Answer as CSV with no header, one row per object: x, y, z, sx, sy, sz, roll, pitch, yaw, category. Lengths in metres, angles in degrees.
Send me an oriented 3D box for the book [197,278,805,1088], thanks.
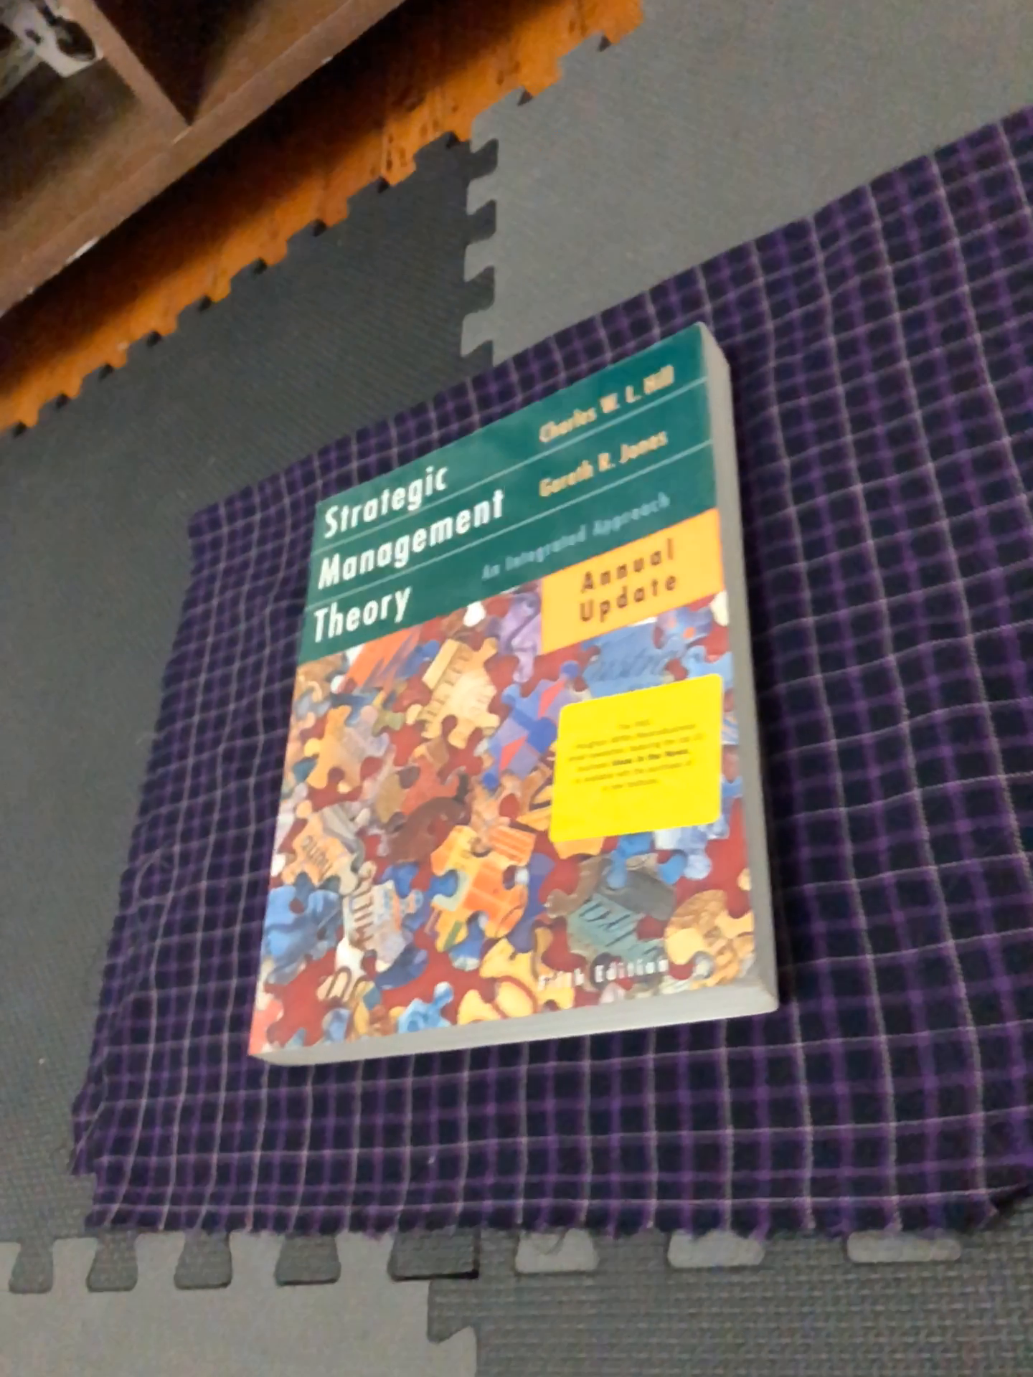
-0.016,0.002,0.458,0.231,0.040,0.281,-17,58,32,book
